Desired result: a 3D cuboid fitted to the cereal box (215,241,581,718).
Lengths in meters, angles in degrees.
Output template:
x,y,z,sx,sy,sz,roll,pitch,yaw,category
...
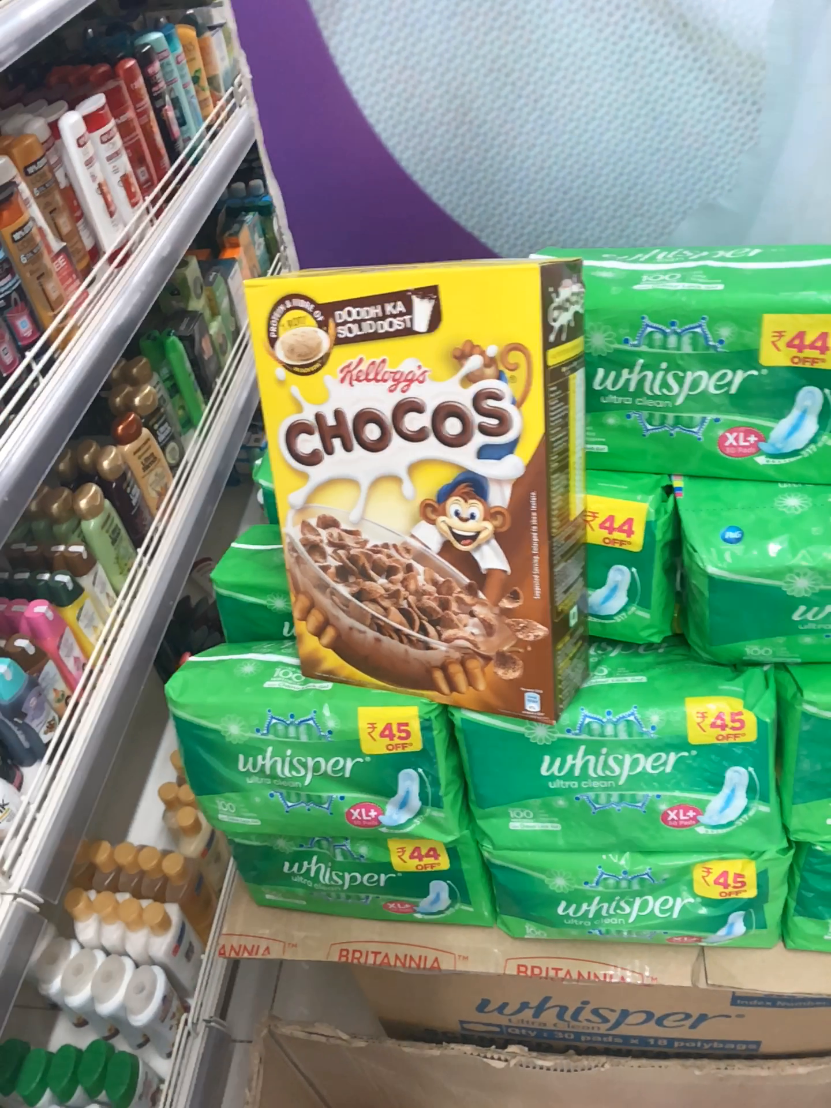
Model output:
x,y,z,sx,sy,sz,roll,pitch,yaw,category
-0.005,-0.049,0.568,0.190,0.259,0.080,6,22,28,cereal box
